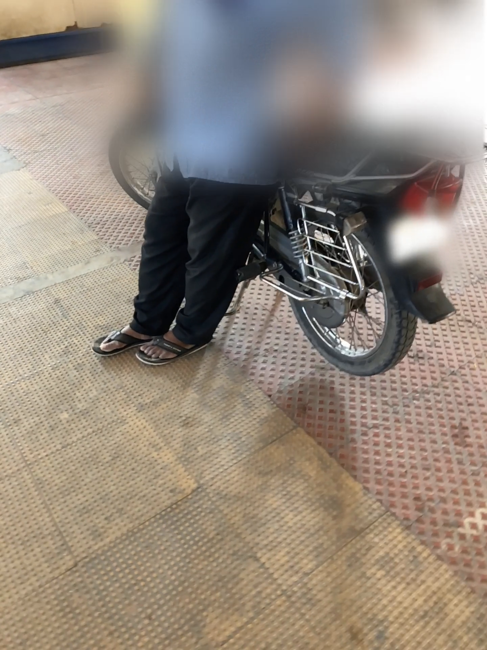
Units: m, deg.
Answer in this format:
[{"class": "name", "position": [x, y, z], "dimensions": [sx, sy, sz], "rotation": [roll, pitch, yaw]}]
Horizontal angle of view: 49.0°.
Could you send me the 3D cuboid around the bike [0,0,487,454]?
[{"class": "bike", "position": [-0.083, -0.582, 1.848], "dimensions": [0.680, 1.036, 1.679], "rotation": [-25, 46, -27]}]
